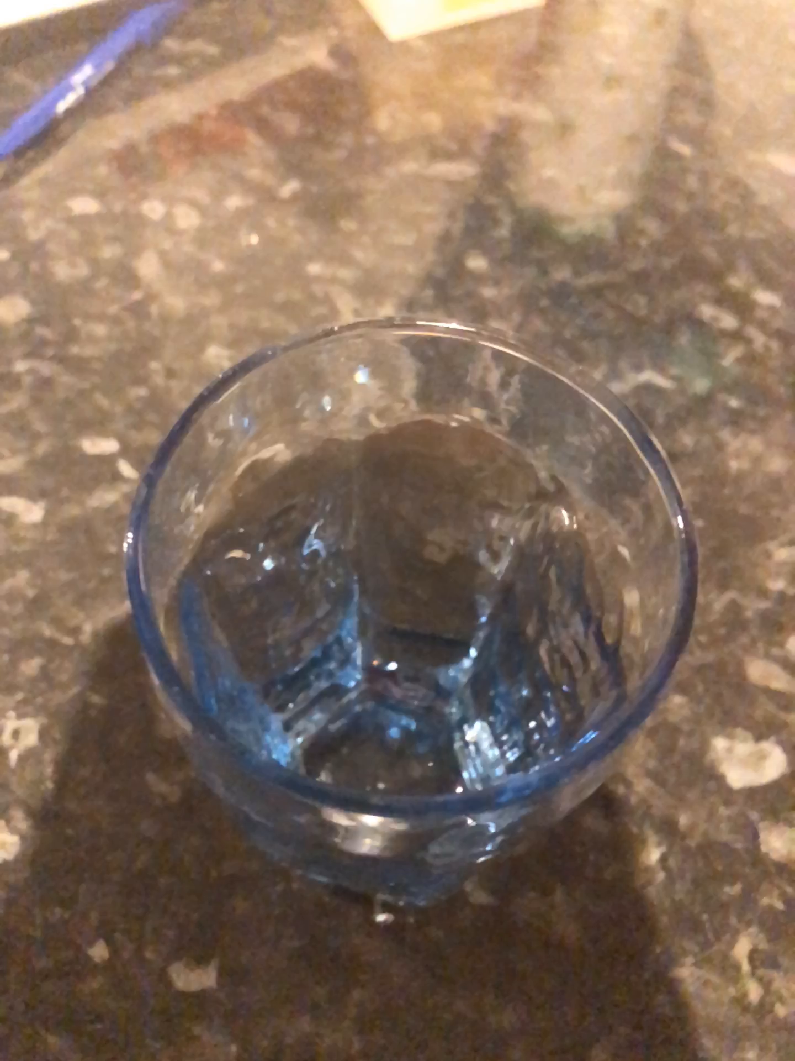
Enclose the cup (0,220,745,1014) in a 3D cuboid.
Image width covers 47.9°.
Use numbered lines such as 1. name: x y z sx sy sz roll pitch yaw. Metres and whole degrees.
1. cup: -0.009 0.027 0.159 0.080 0.120 0.070 24 61 11
